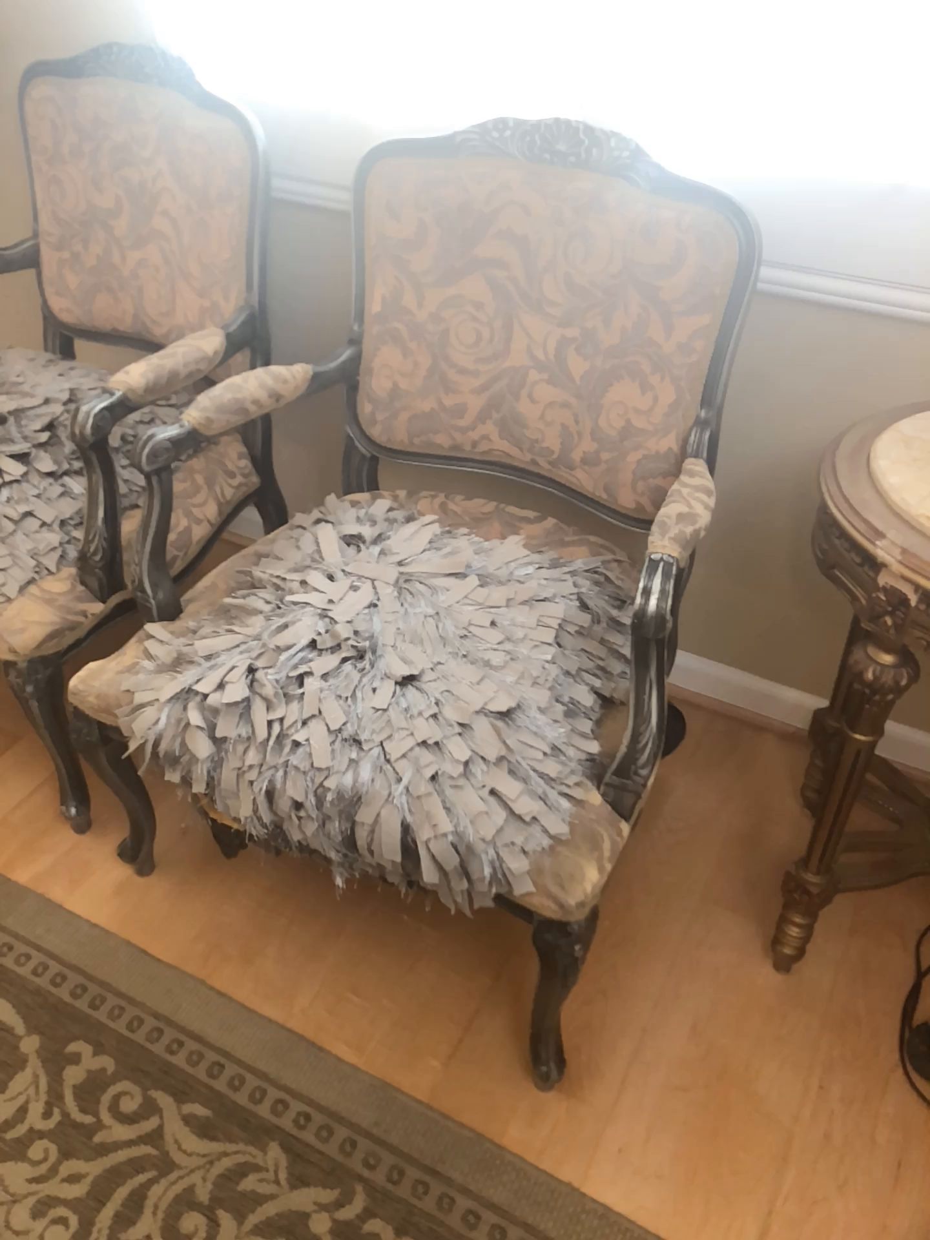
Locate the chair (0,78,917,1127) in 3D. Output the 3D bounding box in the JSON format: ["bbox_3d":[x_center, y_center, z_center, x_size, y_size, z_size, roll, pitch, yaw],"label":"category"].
[{"bbox_3d":[0.000,-0.092,1.283,0.740,0.852,0.787,19,43,21],"label":"chair"}]

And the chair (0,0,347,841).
[{"bbox_3d":[-0.673,-0.328,1.552,0.691,0.951,0.605,24,45,27],"label":"chair"}]
